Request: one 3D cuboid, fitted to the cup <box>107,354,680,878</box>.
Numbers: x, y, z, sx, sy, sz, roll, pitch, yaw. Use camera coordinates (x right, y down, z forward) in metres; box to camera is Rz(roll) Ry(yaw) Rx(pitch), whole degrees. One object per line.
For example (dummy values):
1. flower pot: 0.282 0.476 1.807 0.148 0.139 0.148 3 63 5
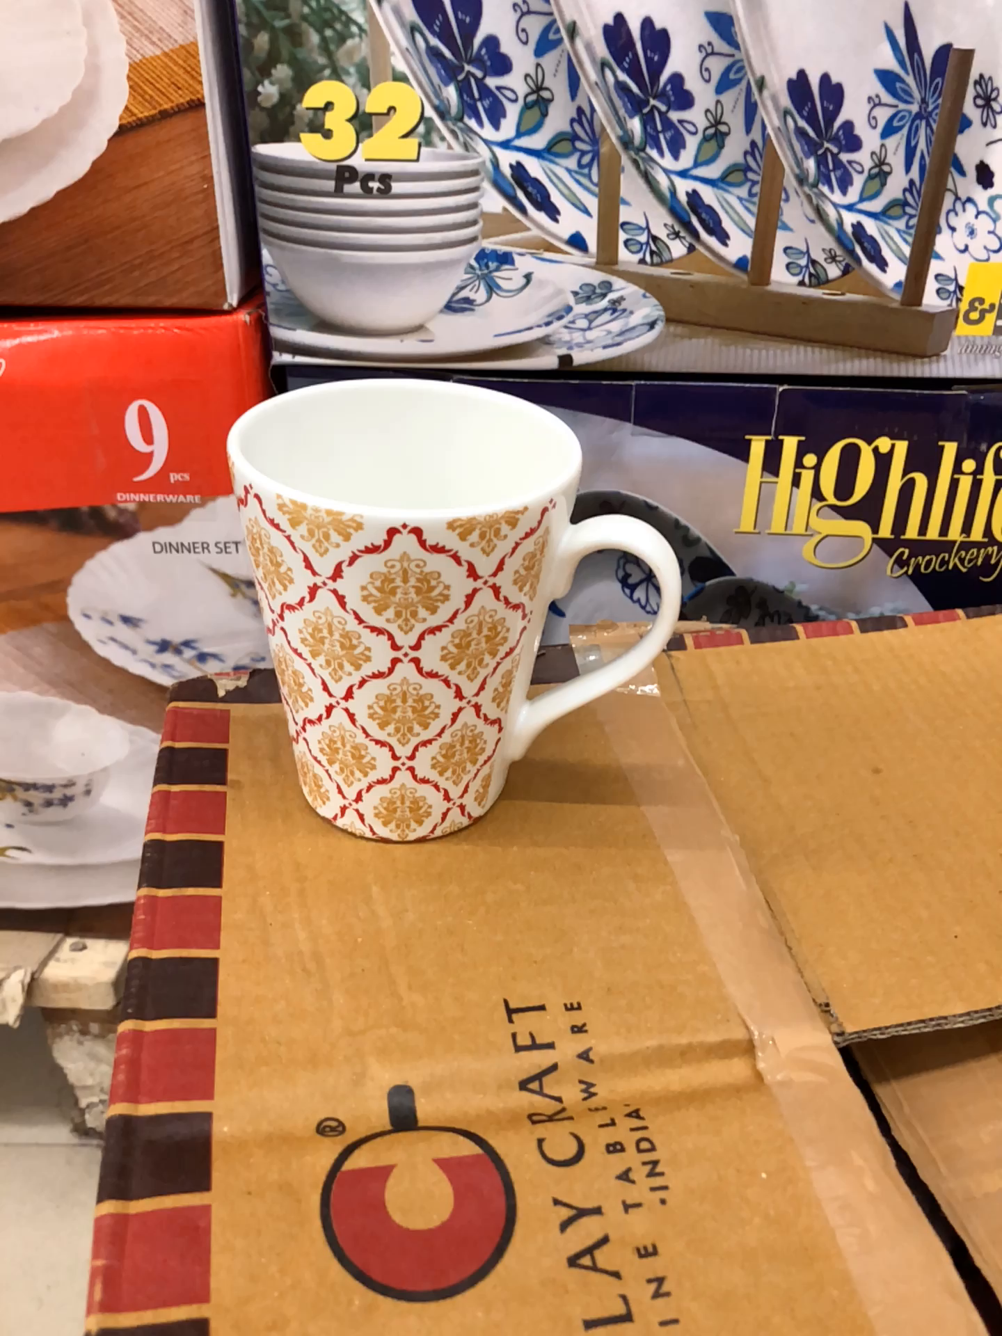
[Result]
1. cup: -0.017 -0.019 0.279 0.110 0.089 0.091 6 31 11
